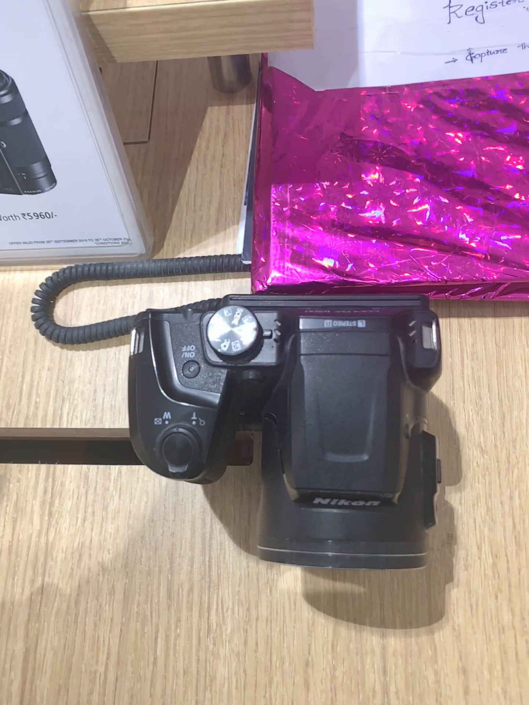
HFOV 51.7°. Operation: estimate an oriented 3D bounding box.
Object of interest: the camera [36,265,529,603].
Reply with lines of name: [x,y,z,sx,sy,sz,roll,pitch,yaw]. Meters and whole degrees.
camera: [0.010,0.031,0.194,0.130,0.090,0.090,0,72,5]
